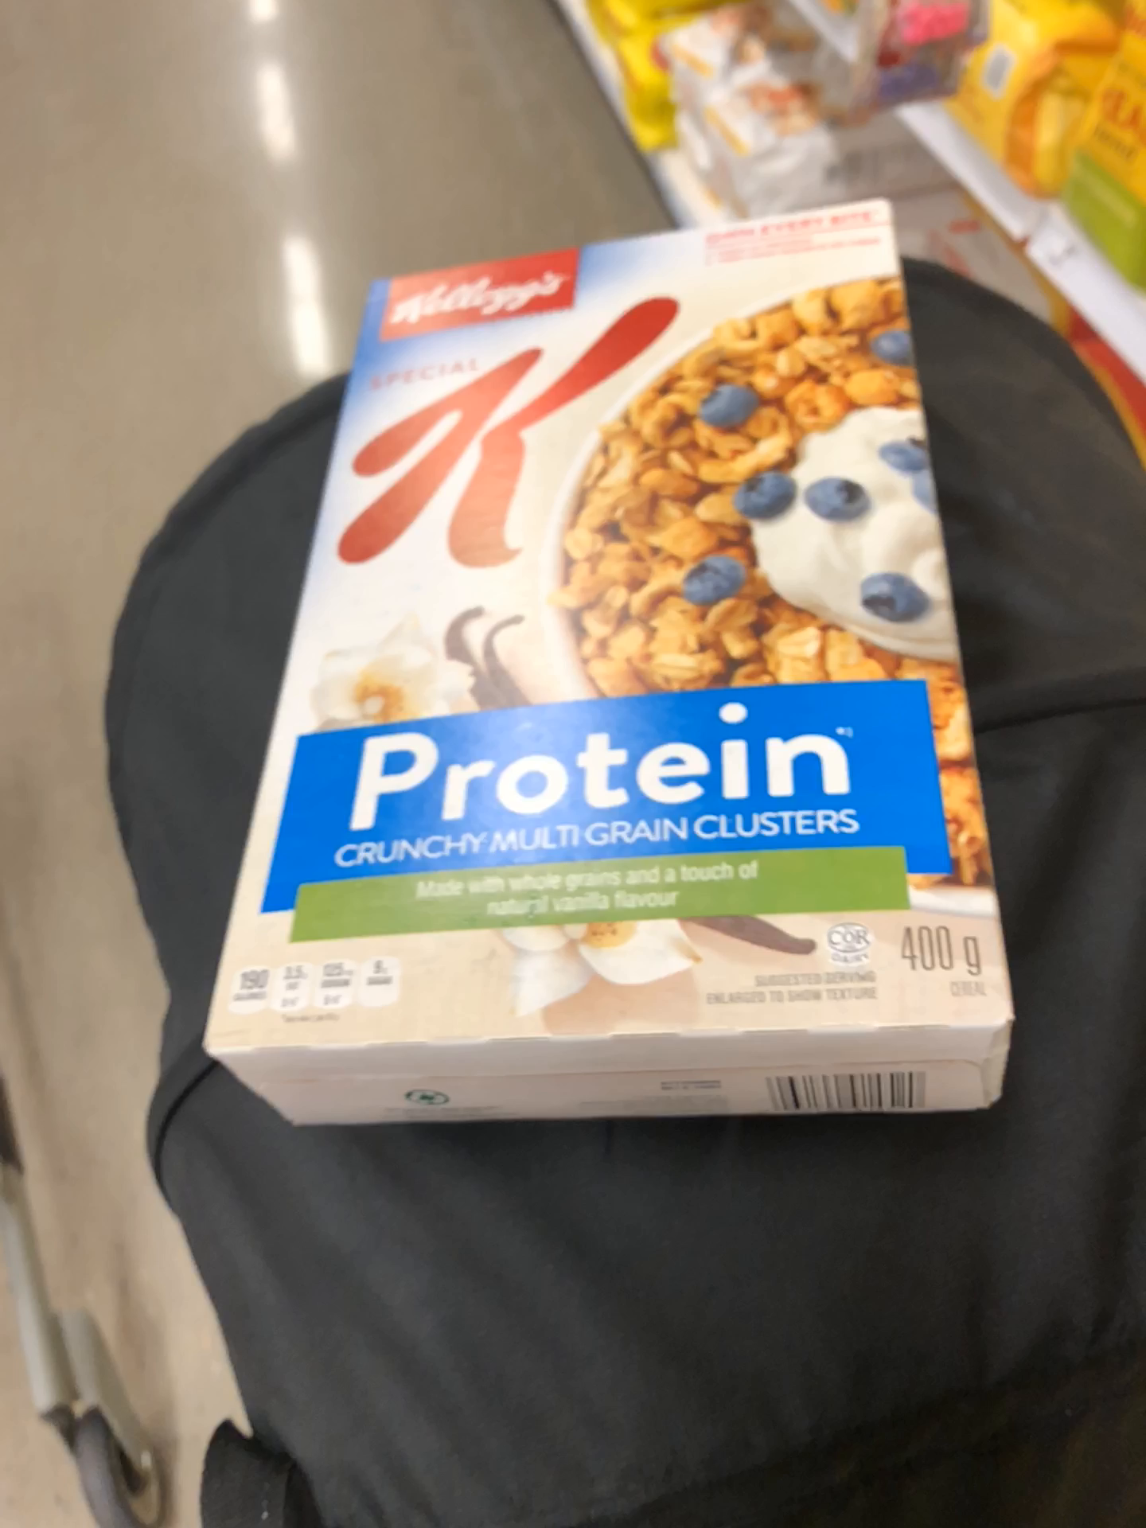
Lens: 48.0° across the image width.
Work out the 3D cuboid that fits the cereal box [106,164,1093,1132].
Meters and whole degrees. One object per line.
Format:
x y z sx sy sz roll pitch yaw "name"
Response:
0.011 -0.045 0.341 0.190 0.050 0.271 -5 53 13 "cereal box"
